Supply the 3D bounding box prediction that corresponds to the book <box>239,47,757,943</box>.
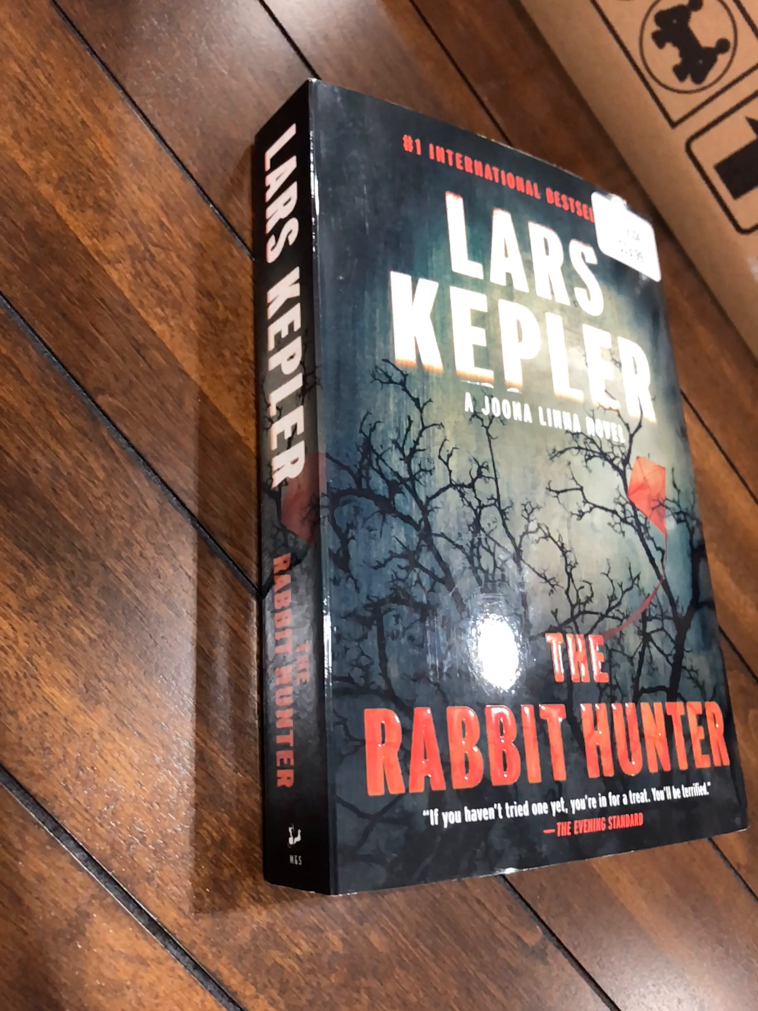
[{"bbox_3d":[0.041,-0.004,0.263,0.160,0.046,0.222,8,70,-34],"label":"book"}]
